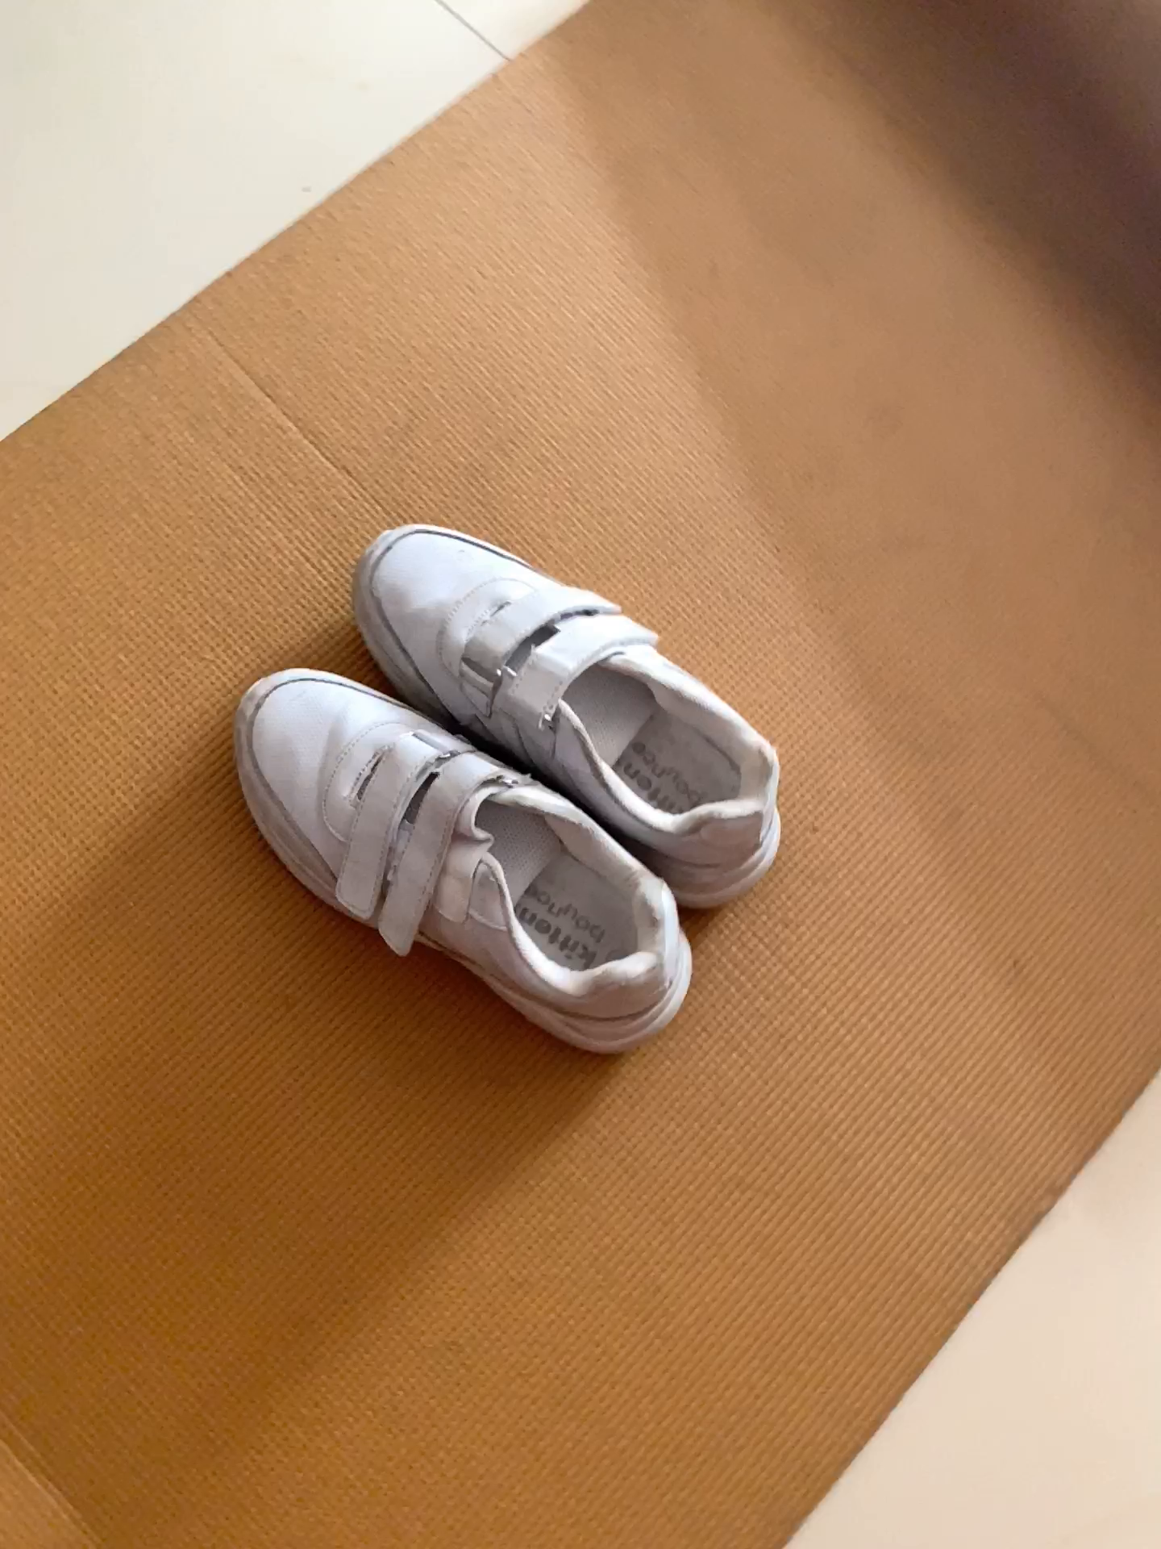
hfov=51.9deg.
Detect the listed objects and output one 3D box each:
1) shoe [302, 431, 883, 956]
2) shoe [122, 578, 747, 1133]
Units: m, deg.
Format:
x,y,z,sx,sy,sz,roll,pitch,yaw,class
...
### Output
x,y,z,sx,sy,sz,roll,pitch,yaw,class
0.001,-0.030,0.548,0.240,0.100,0.090,38,76,3,shoe
-0.062,0.036,0.516,0.250,0.070,0.090,38,76,3,shoe
